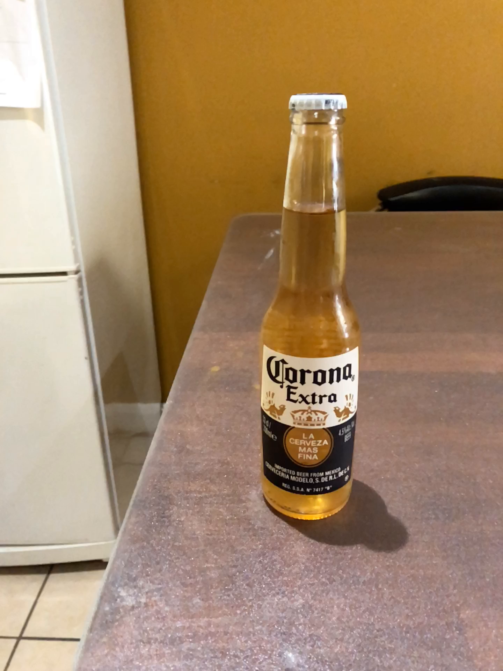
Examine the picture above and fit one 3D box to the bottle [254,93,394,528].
[{"bbox_3d":[0.036,-0.007,0.316,0.060,0.238,0.060,-1,24,0],"label":"bottle"}]
